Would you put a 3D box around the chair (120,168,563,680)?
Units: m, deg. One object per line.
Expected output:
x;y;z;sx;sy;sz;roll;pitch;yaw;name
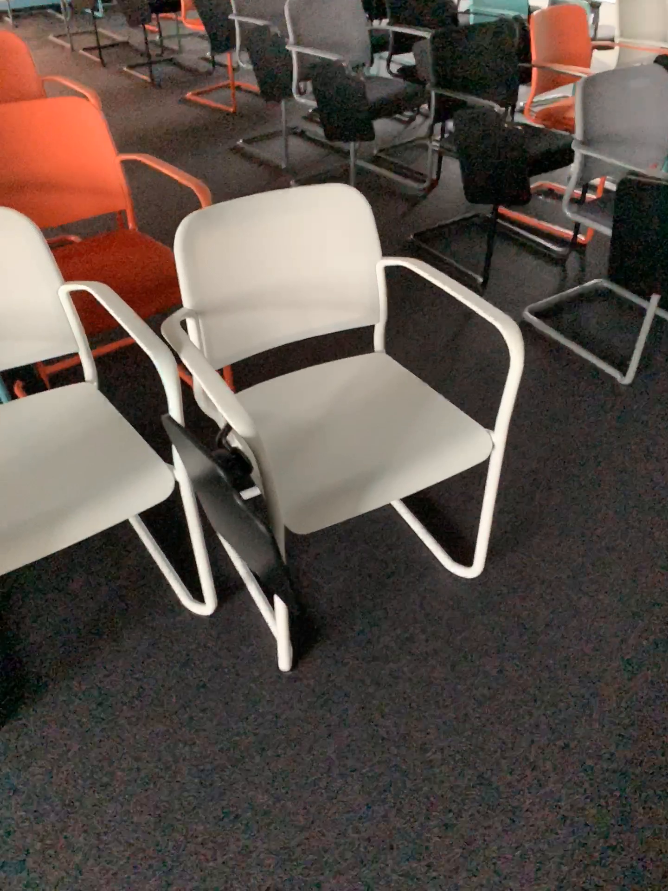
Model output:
-0.014;-0.057;1.430;0.561;0.756;0.552;-20;46;-22;chair
